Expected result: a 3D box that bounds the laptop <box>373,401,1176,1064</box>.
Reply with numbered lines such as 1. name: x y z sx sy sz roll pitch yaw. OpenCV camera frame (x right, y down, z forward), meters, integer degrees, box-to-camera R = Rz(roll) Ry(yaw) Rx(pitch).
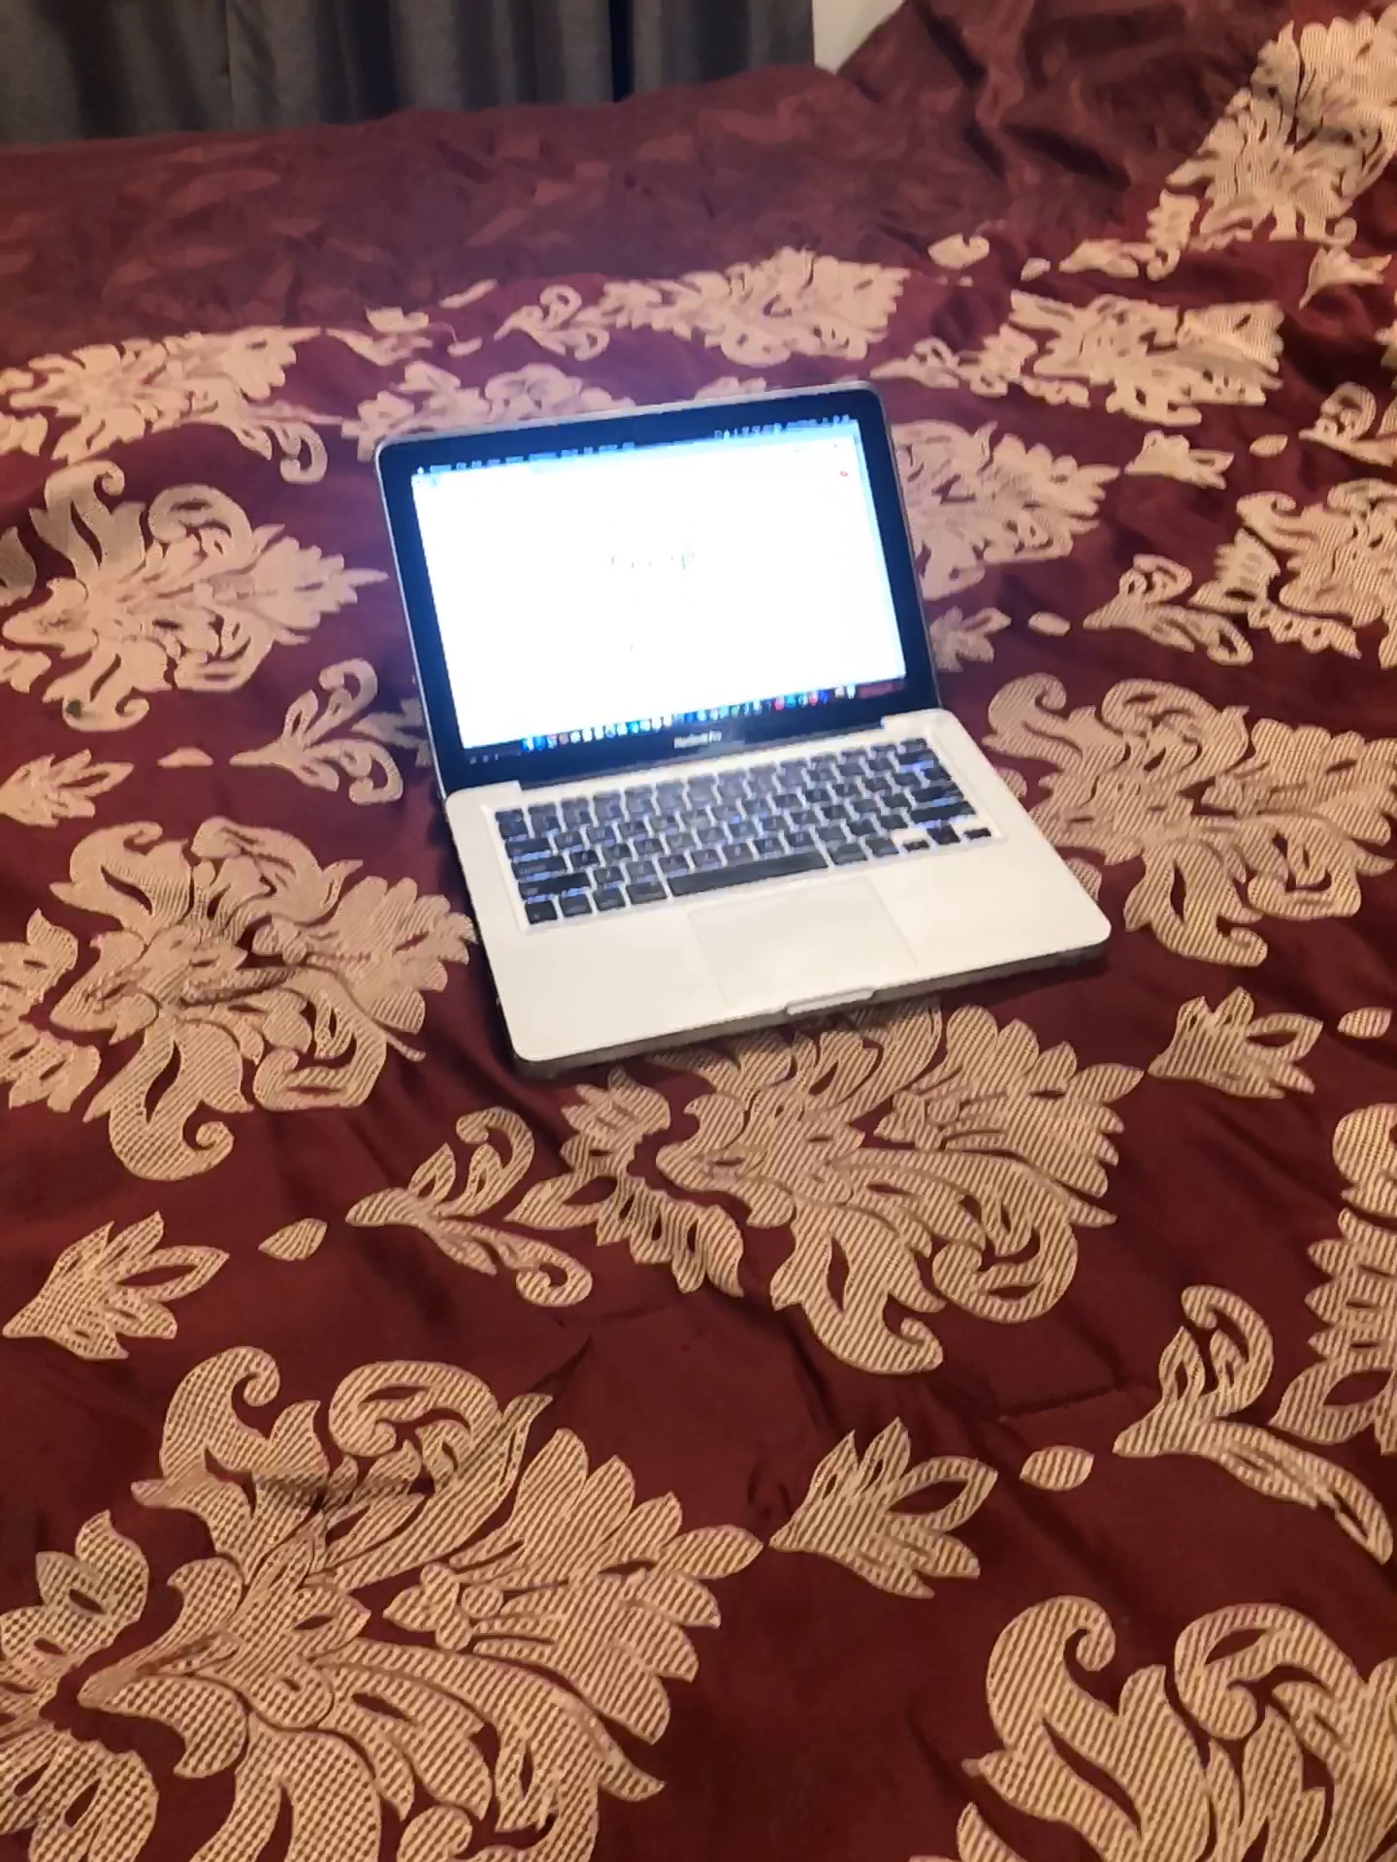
1. laptop: 0.014 -0.125 0.789 0.292 0.133 0.344 -11 43 -13
